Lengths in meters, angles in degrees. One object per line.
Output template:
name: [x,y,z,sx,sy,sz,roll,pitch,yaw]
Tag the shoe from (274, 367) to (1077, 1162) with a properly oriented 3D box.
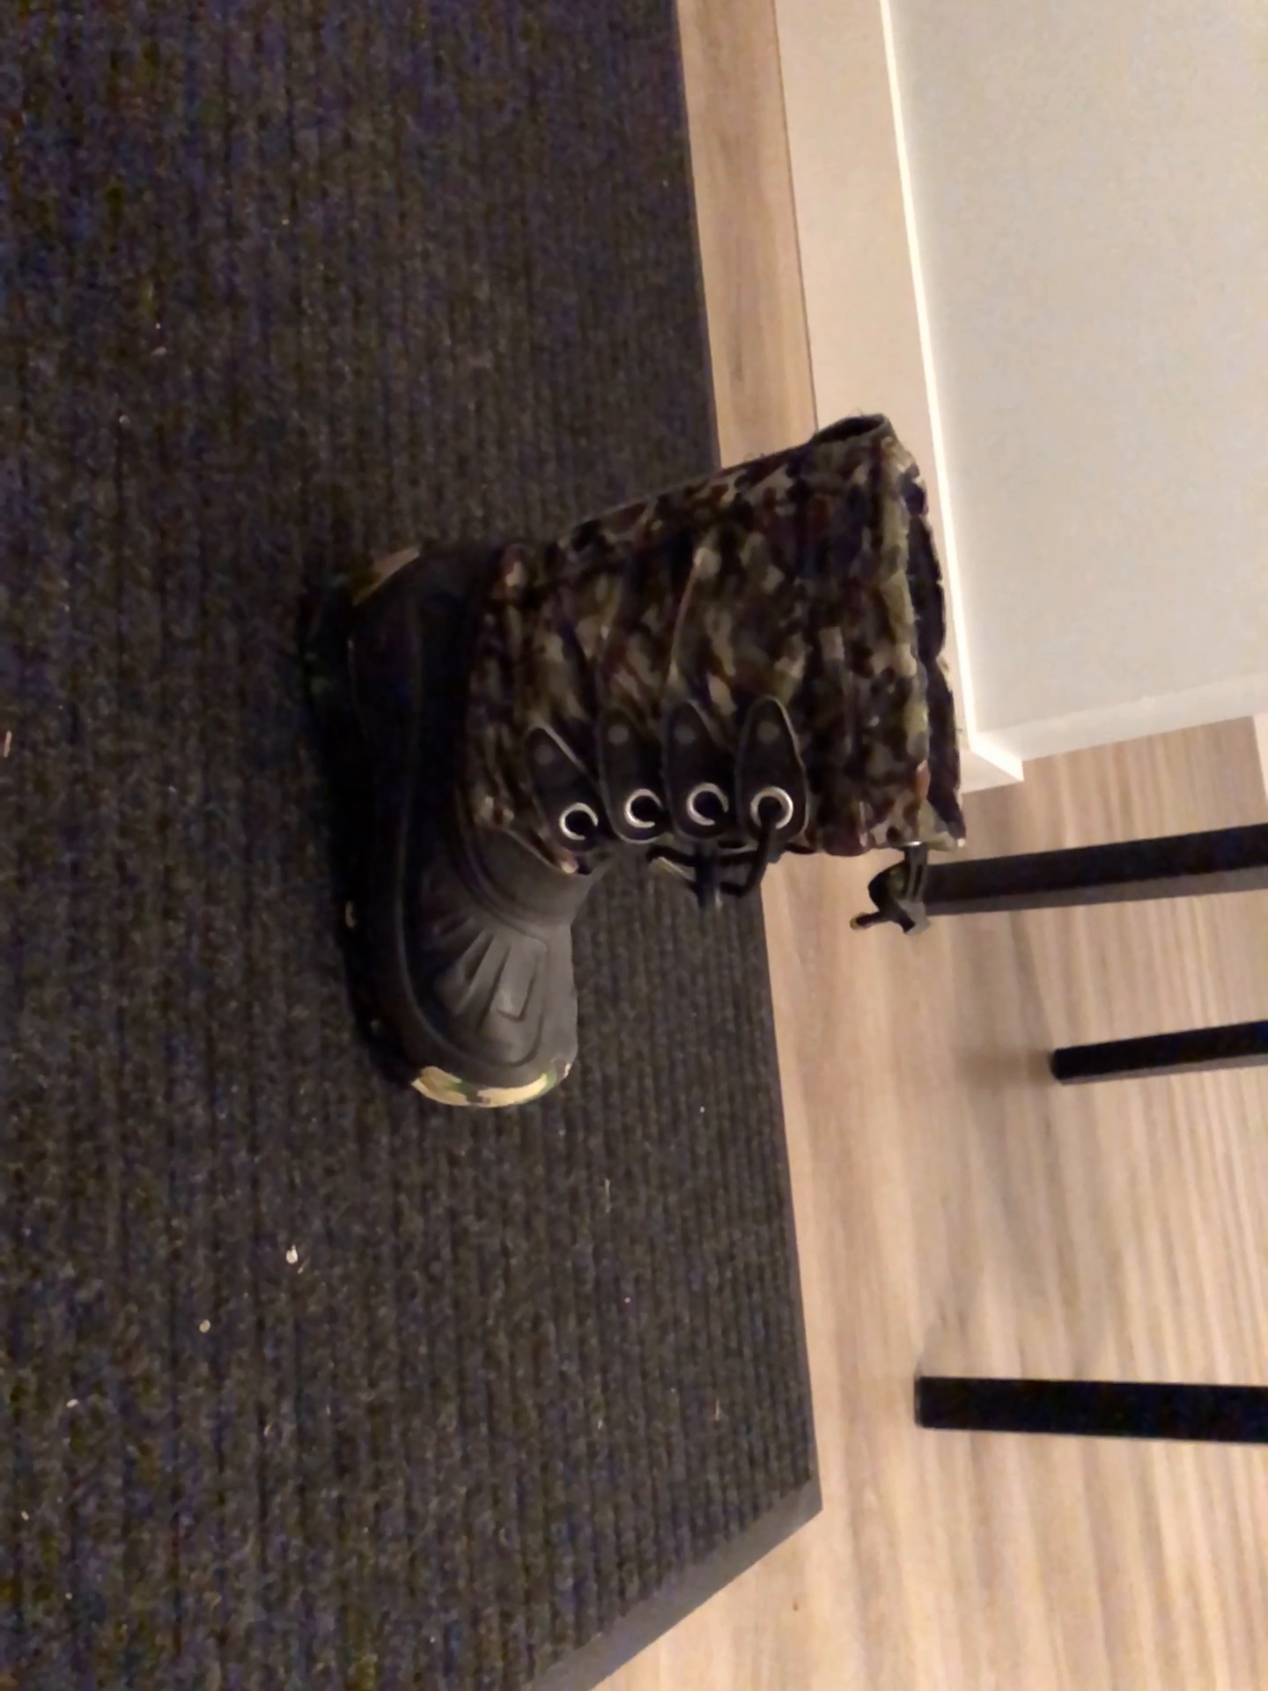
shoe: [0.013,-0.015,0.465,0.101,0.209,0.200,-9,88,-63]
